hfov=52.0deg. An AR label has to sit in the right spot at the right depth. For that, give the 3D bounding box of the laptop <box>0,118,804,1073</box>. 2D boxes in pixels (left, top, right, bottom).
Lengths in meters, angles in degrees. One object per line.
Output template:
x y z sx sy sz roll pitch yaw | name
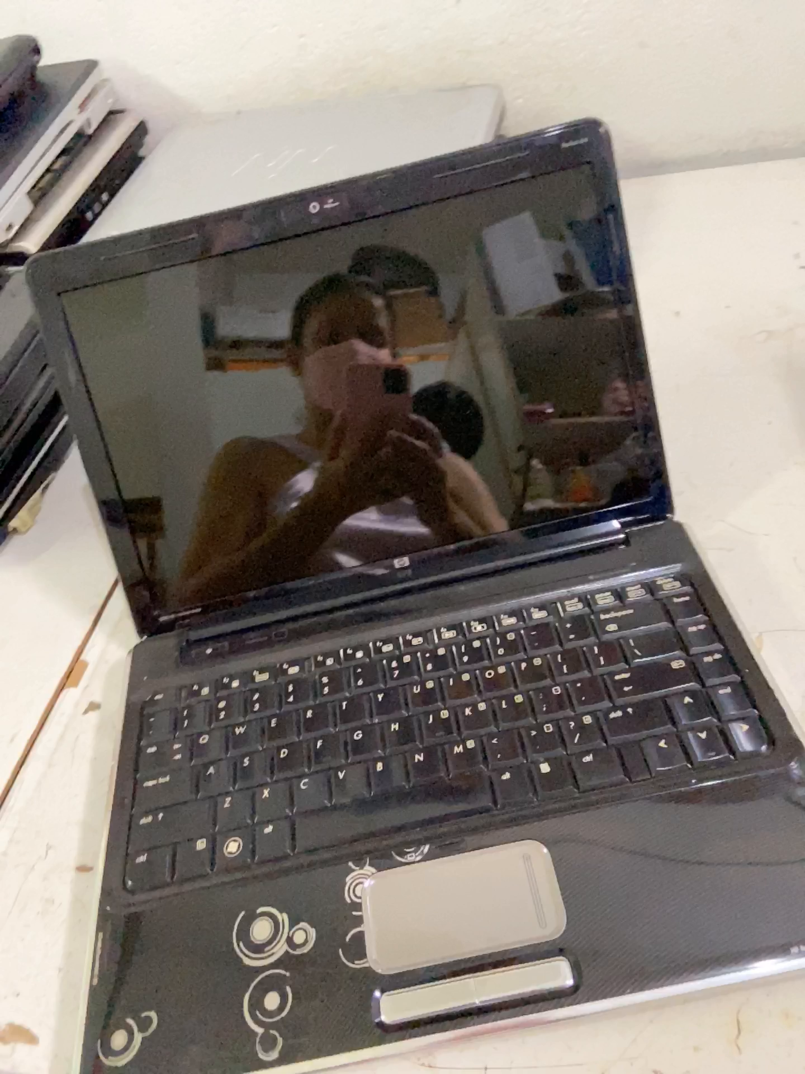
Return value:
-0.008 0.000 0.389 0.330 0.176 0.374 -13 45 3 | laptop
